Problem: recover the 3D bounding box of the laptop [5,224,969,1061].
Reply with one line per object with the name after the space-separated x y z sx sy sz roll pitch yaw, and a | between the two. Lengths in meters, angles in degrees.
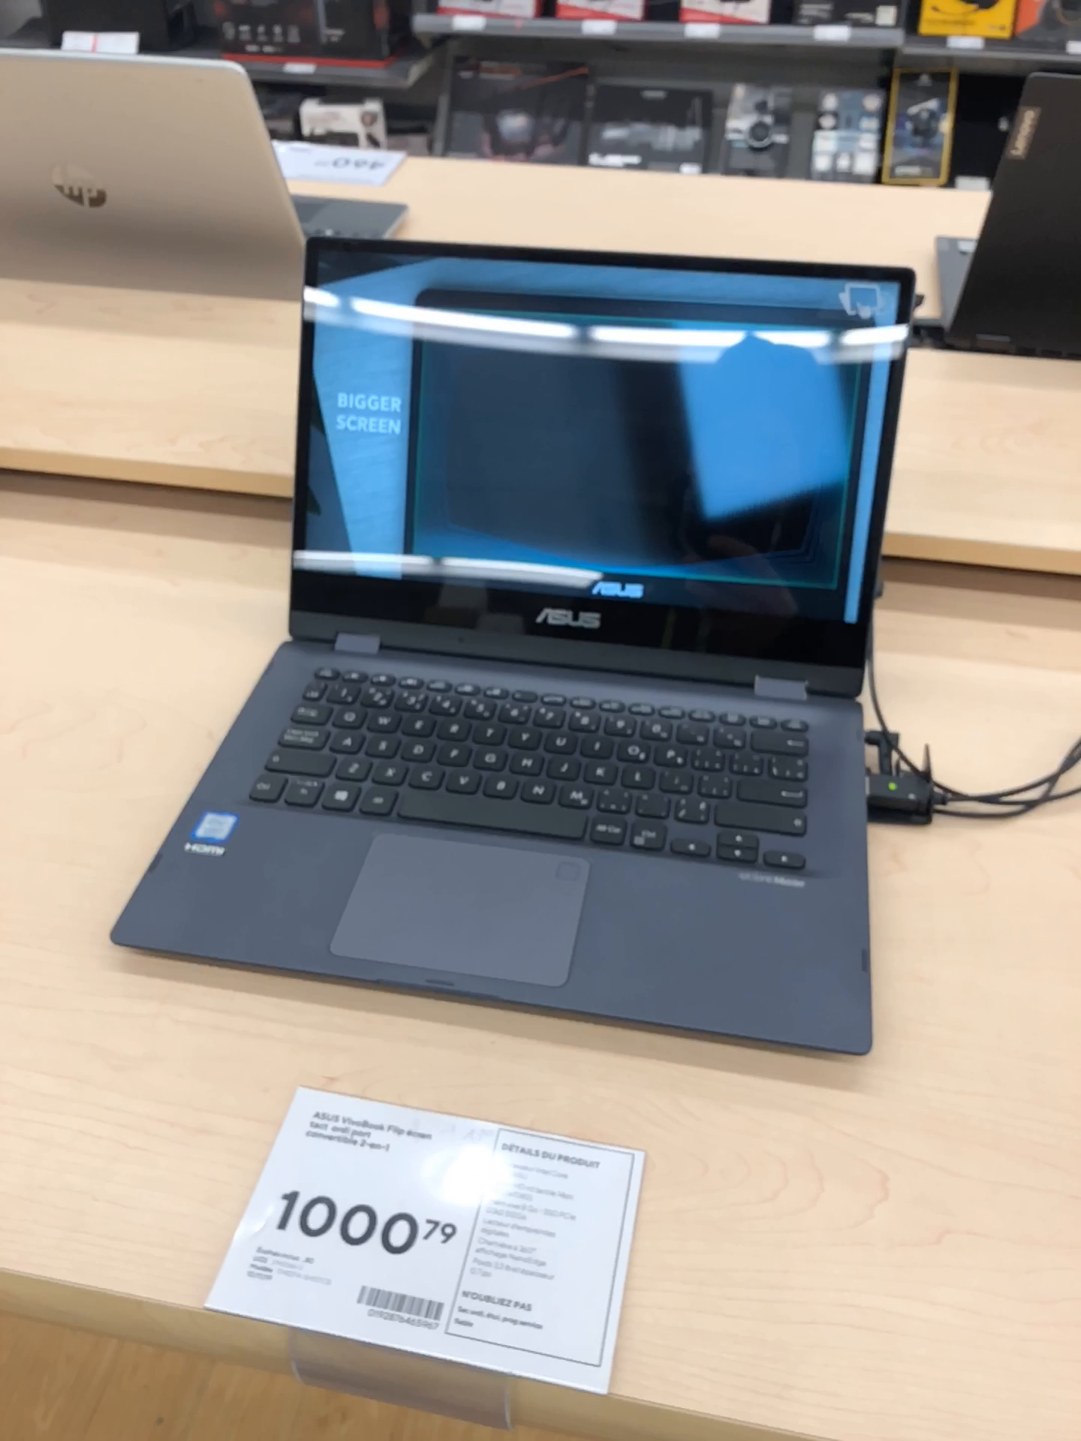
0.000 -0.067 0.565 0.320 0.184 0.332 7 43 8 | laptop
